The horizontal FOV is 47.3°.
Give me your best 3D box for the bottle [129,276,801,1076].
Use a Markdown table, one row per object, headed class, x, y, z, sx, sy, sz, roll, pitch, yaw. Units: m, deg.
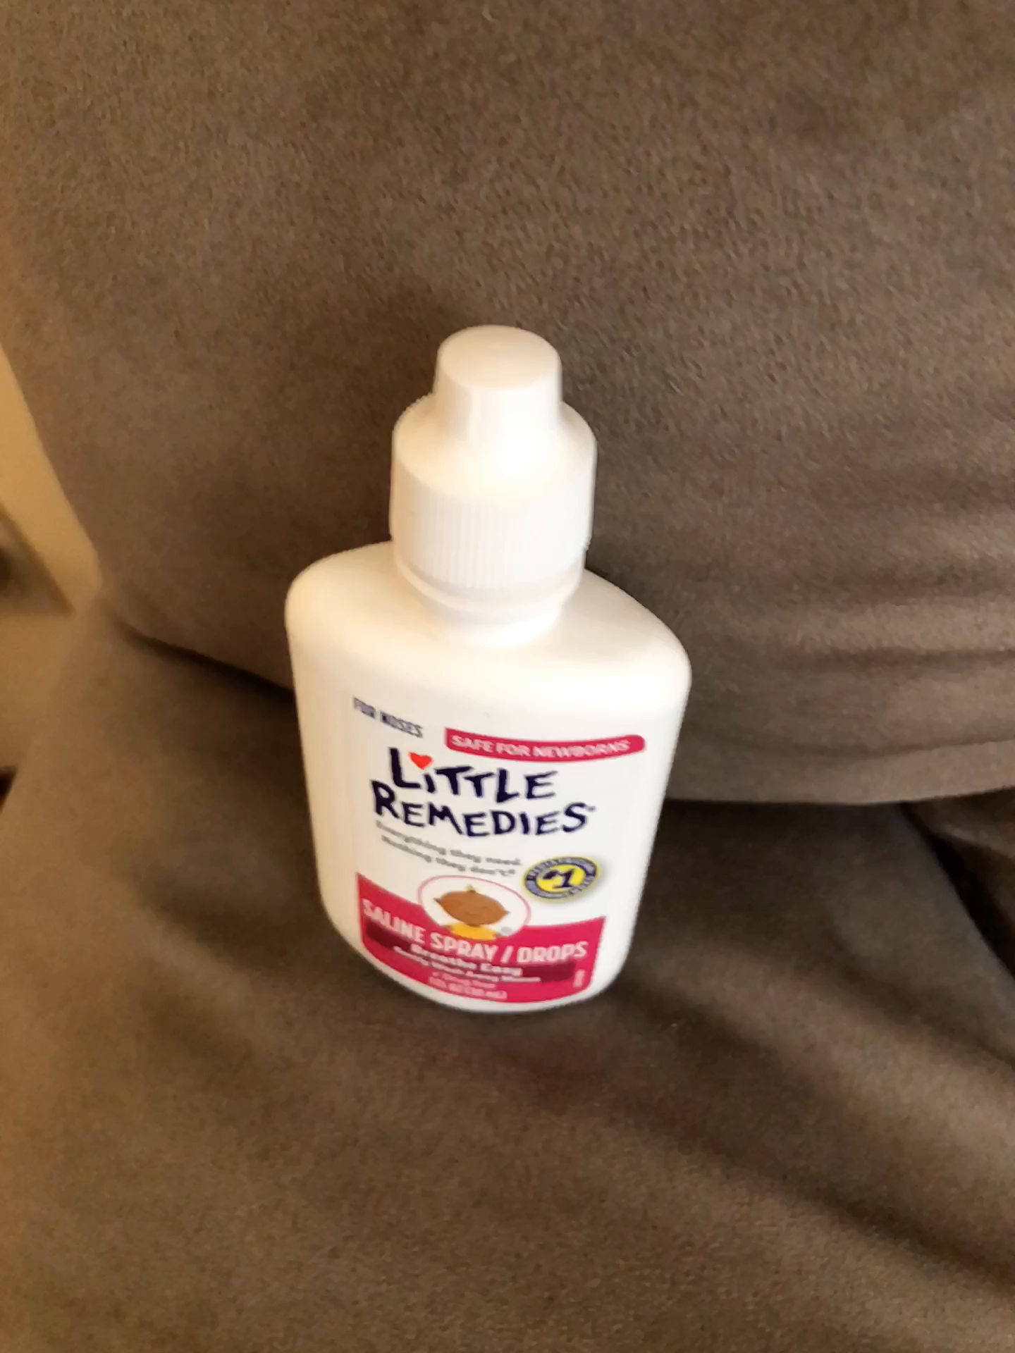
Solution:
| class | x | y | z | sx | sy | sz | roll | pitch | yaw |
| --- | --- | --- | --- | --- | --- | --- | --- | --- | --- |
| bottle | -0.001 | 0.008 | 0.155 | 0.060 | 0.110 | 0.030 | 12 | 50 | 14 |
